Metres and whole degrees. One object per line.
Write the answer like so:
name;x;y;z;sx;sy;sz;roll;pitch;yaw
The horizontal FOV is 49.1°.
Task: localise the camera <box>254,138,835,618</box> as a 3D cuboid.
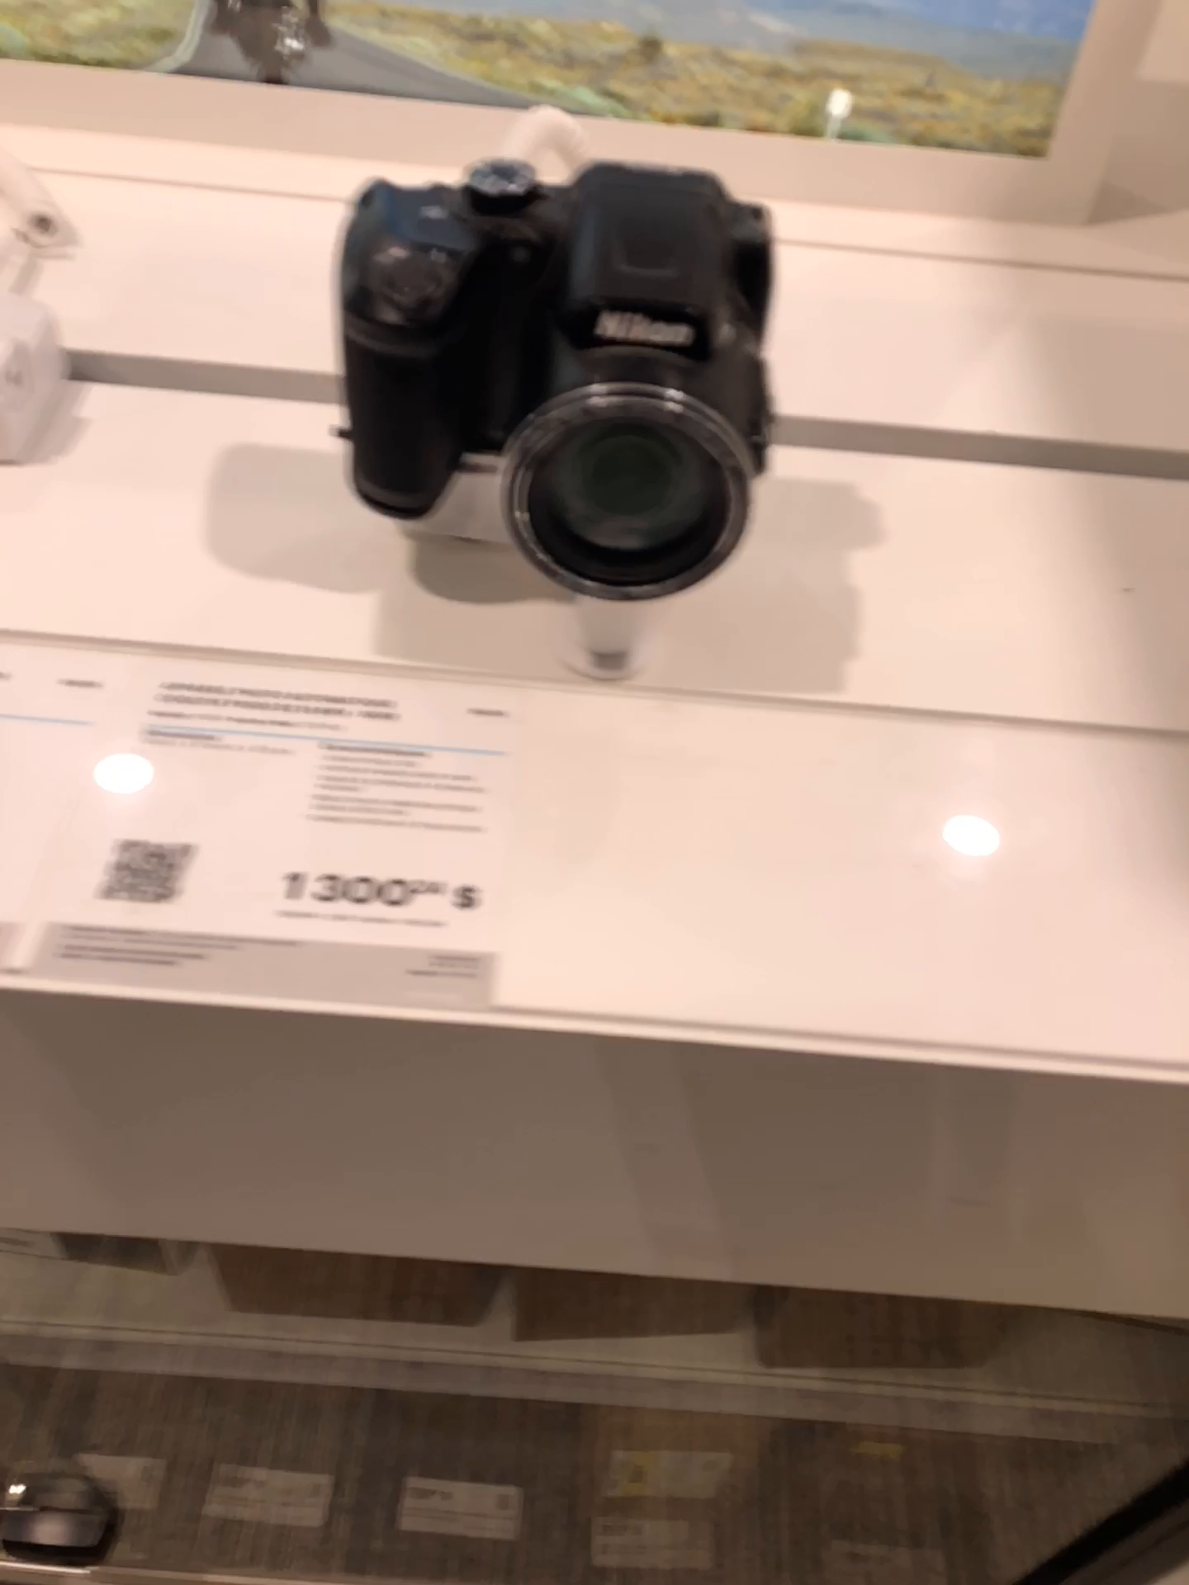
camera;-0.011;-0.102;0.318;0.117;0.067;0.092;4;47;-2
